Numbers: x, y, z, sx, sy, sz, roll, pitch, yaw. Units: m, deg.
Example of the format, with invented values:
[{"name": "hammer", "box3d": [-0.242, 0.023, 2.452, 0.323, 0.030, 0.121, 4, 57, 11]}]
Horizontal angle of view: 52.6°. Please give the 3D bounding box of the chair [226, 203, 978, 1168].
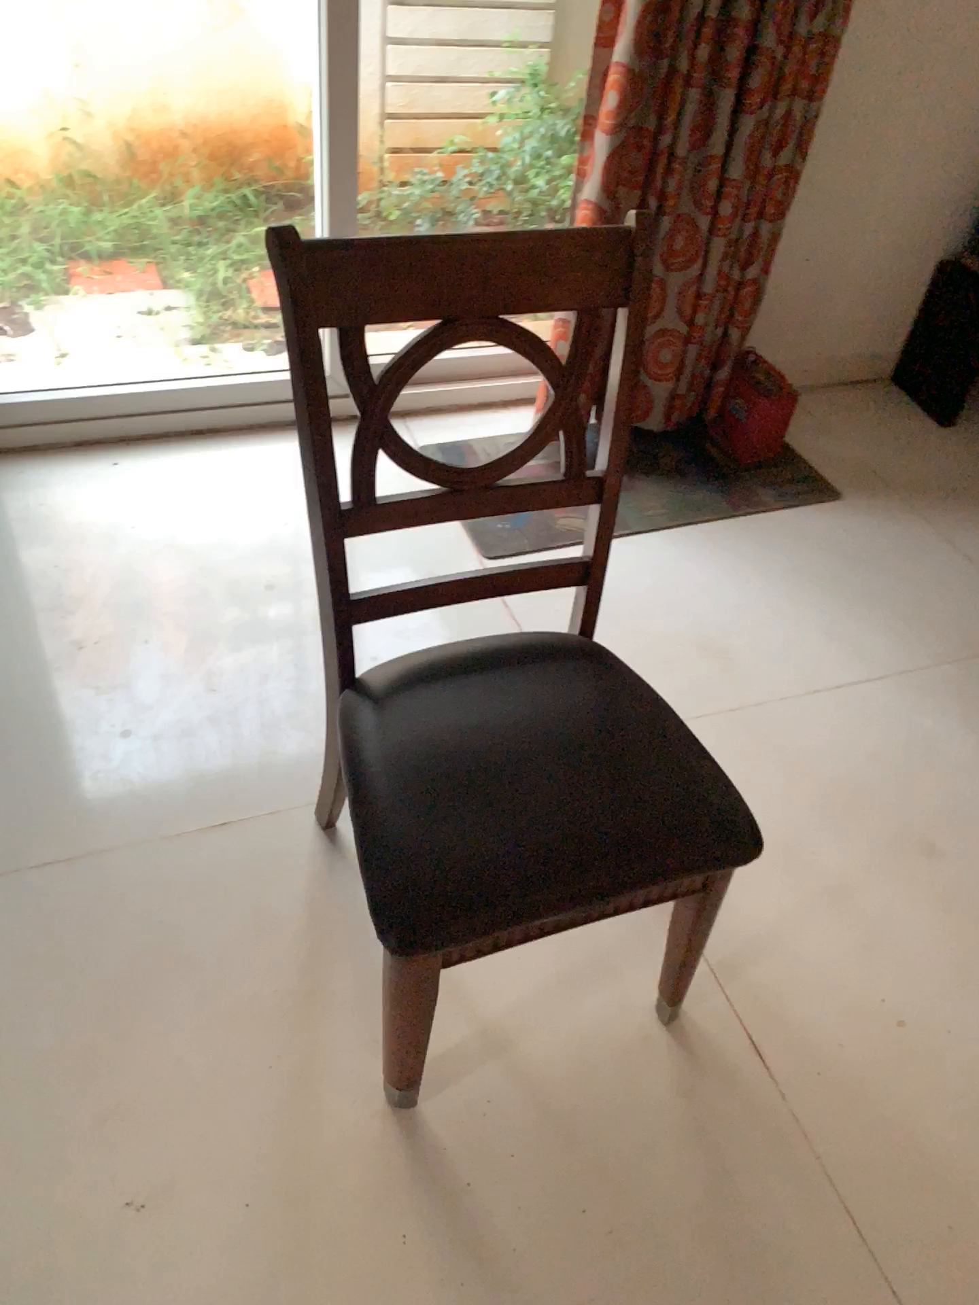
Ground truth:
[{"name": "chair", "box3d": [0.041, 0.070, 1.296, 0.570, 1.026, 0.643, -10, 46, -17]}]
